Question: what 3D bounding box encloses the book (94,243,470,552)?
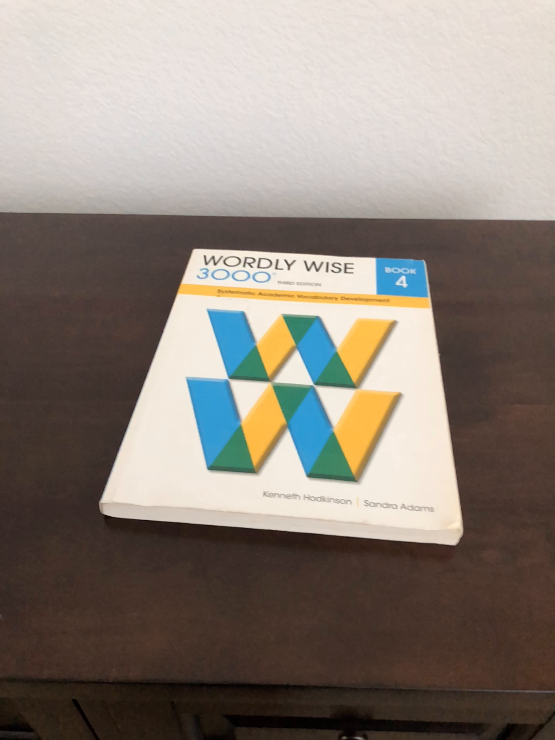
[{"bbox_3d":[0.014,-0.004,0.457,0.217,0.020,0.275,4,45,4],"label":"book"}]
